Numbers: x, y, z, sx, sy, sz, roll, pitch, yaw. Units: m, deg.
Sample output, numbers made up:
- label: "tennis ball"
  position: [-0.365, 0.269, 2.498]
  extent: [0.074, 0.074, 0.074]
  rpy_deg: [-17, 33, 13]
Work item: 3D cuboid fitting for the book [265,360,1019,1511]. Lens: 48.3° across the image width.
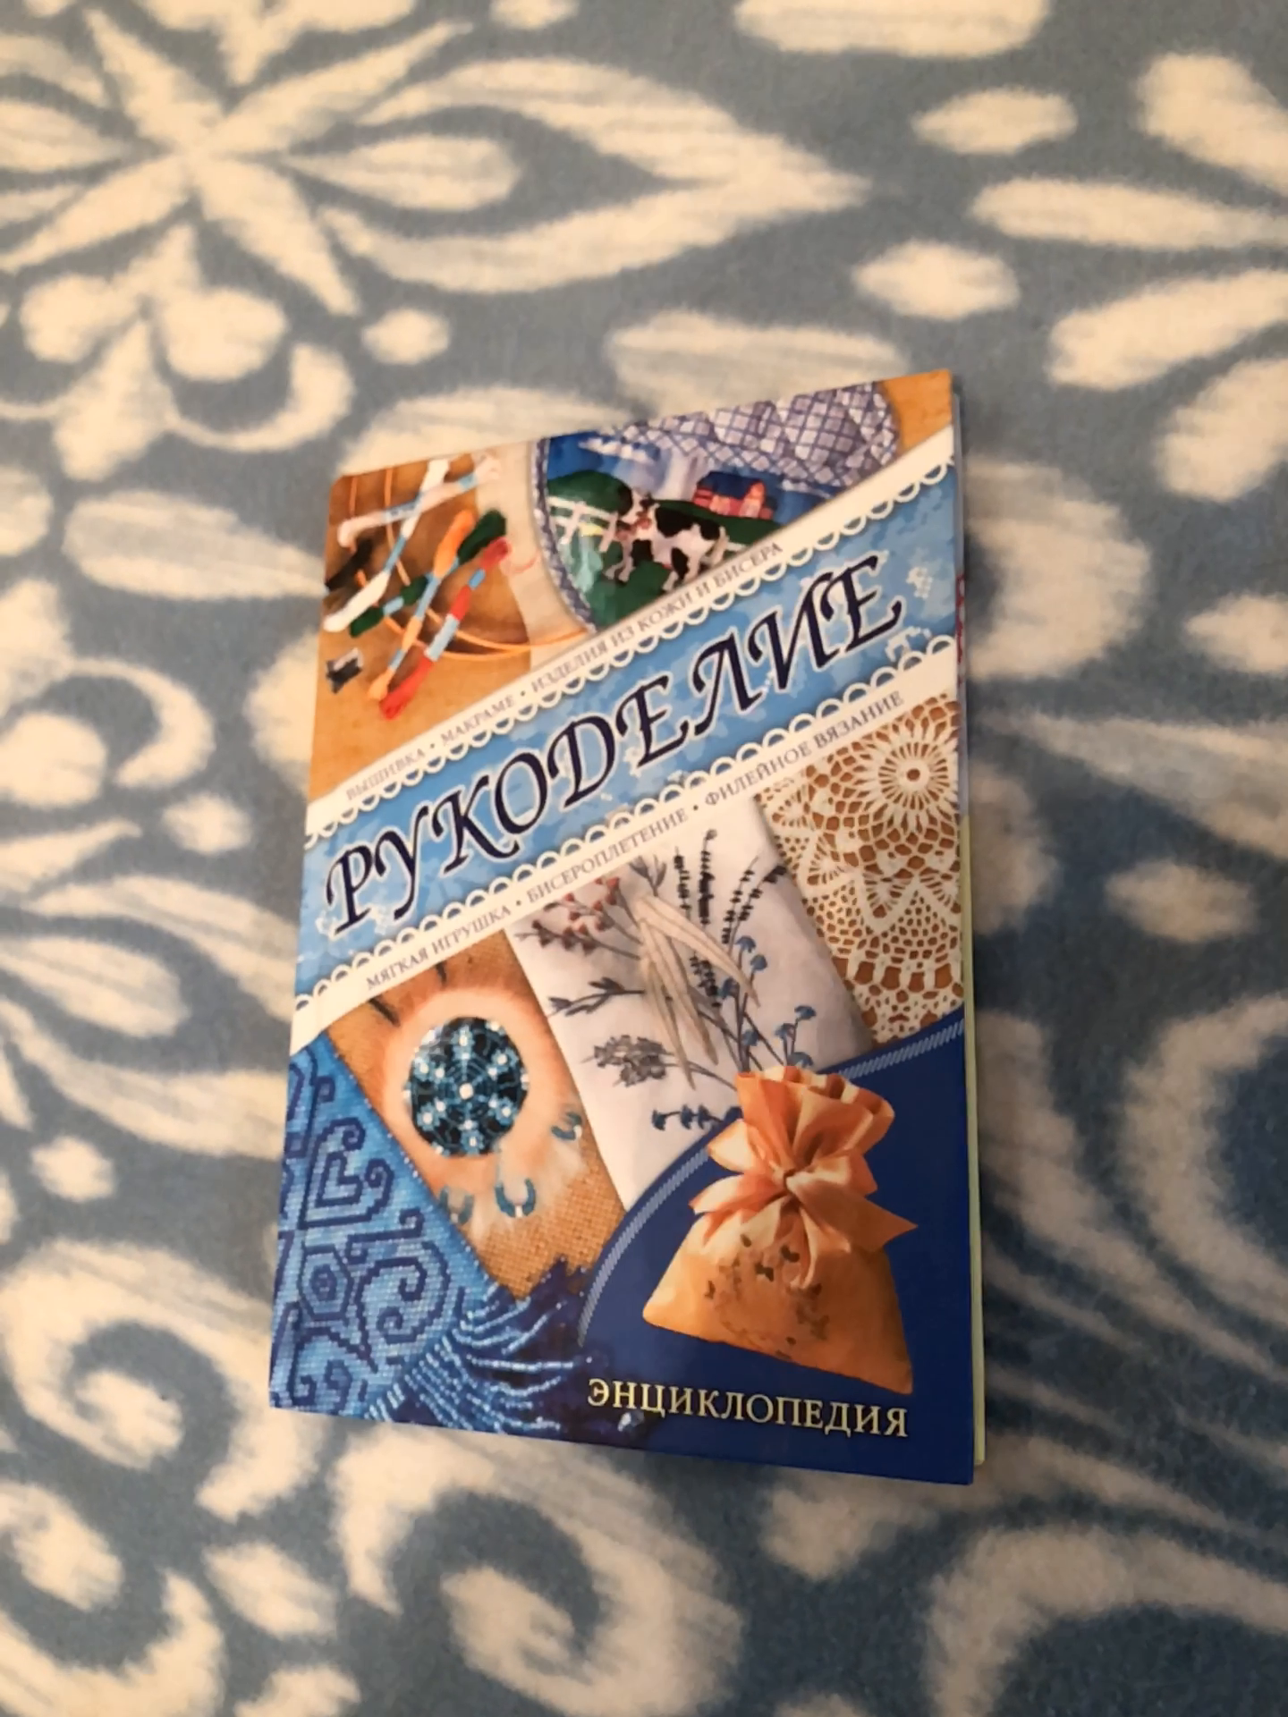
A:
- label: "book"
  position: [-0.005, 0.013, 0.334]
  extent: [0.168, 0.020, 0.237]
  rpy_deg: [-4, 78, 22]
